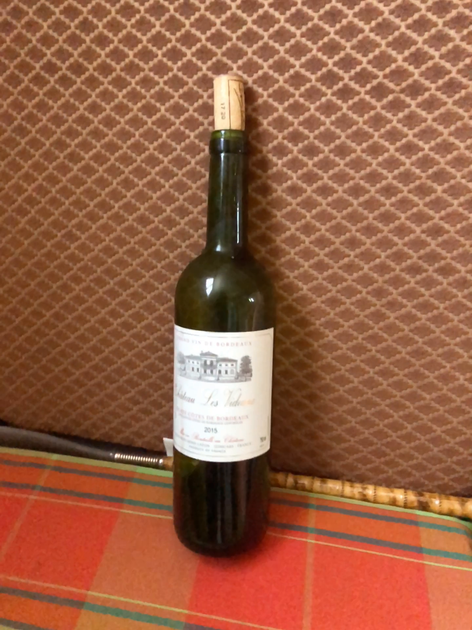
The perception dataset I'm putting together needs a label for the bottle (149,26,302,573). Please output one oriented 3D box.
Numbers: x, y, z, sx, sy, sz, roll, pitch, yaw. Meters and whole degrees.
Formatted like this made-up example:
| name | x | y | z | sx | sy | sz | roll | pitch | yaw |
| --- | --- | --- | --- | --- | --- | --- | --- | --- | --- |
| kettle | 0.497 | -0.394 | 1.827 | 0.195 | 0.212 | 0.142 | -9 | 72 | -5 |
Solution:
| name | x | y | z | sx | sy | sz | roll | pitch | yaw |
| --- | --- | --- | --- | --- | --- | --- | --- | --- | --- |
| bottle | -0.005 | -0.004 | 0.368 | 0.080 | 0.339 | 0.070 | 3 | 9 | 21 |
